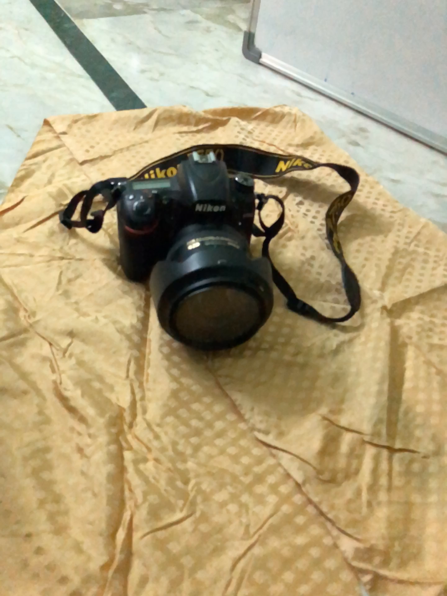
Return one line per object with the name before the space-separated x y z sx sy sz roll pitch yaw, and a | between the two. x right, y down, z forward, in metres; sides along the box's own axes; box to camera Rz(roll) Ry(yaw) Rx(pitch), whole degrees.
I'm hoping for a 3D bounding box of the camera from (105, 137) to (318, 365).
camera | -0.024 -0.049 0.437 0.149 0.109 0.171 -4 49 -11
